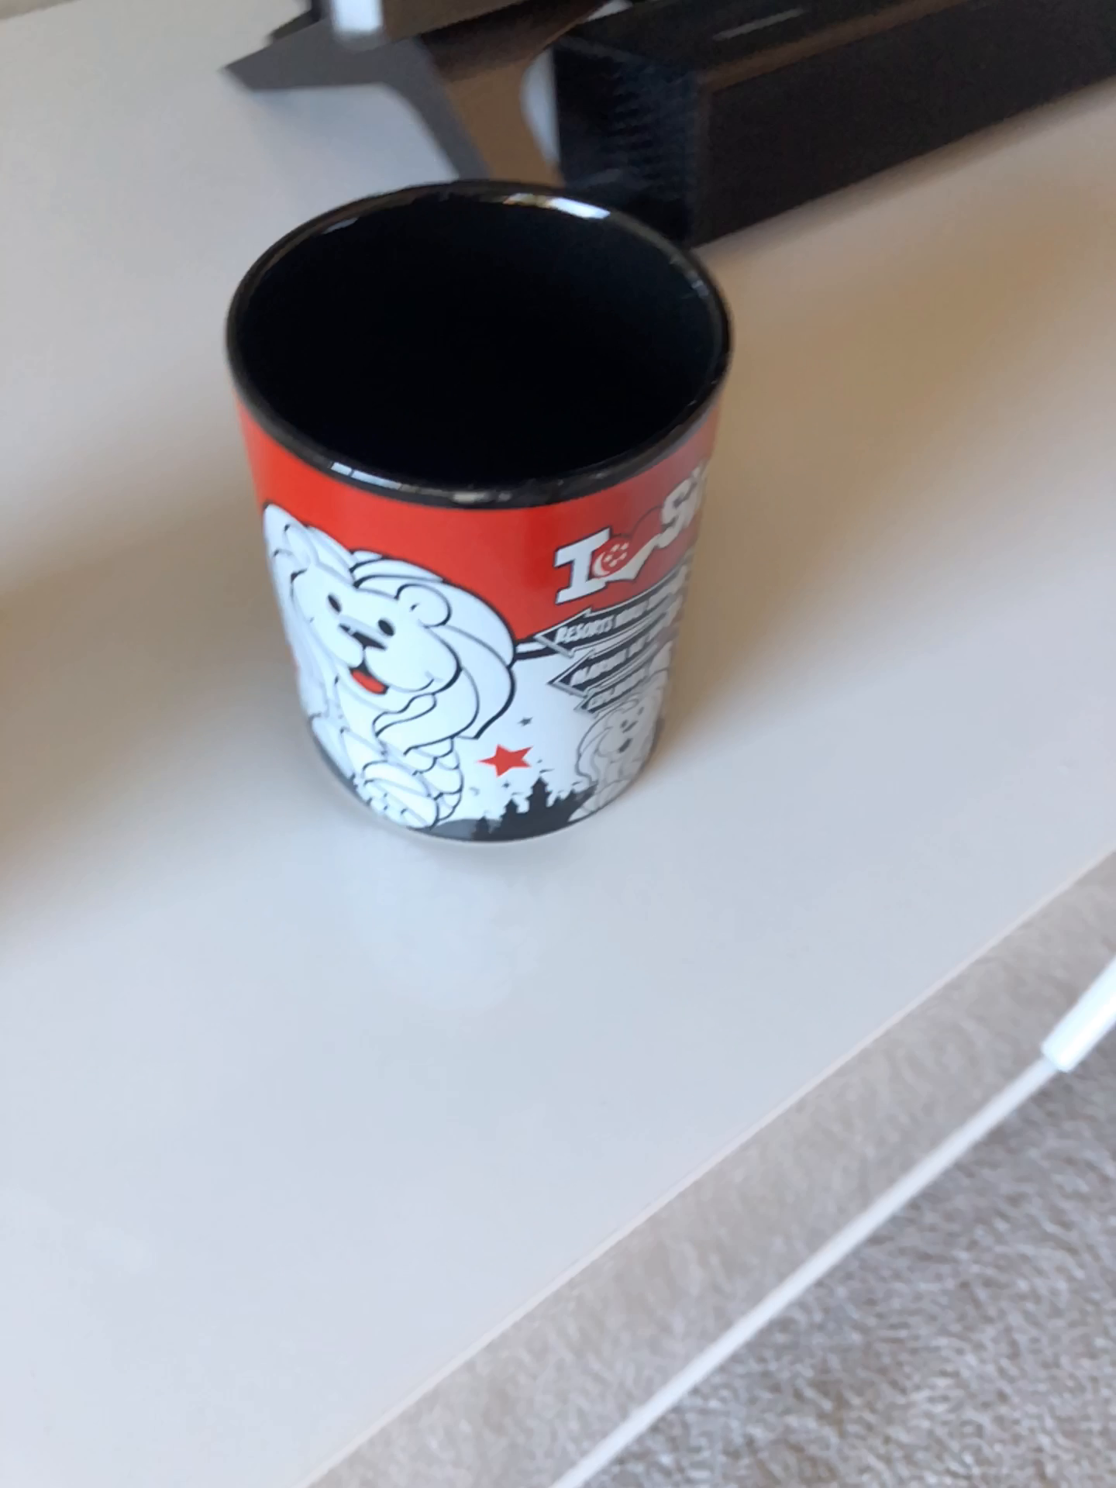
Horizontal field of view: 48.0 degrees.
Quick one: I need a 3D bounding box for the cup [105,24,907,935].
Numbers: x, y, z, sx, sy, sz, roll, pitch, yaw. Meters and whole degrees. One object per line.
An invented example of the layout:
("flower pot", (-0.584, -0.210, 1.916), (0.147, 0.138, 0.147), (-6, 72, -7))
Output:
("cup", (-0.004, -0.053, 0.250), (0.080, 0.110, 0.120), (26, 56, 17))
